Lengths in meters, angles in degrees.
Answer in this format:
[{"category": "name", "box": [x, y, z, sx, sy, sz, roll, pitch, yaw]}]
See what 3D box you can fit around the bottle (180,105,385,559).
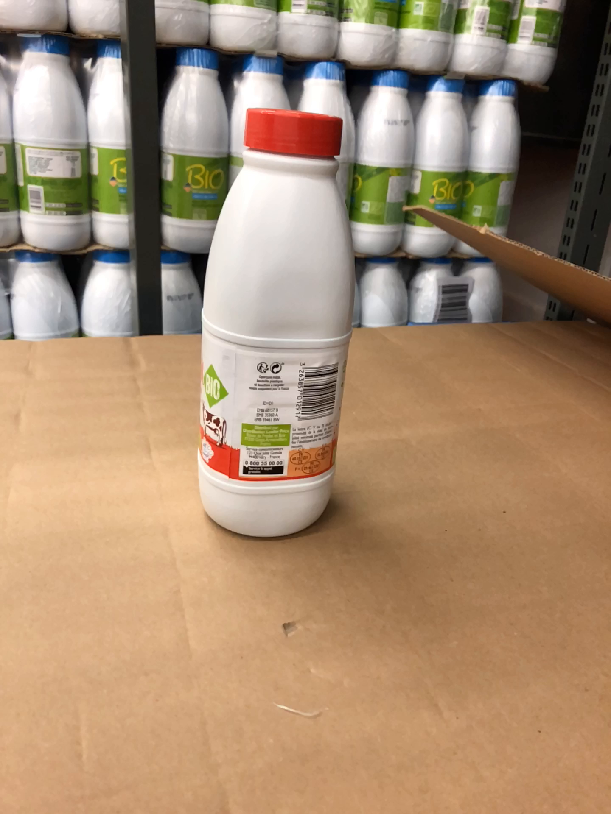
[{"category": "bottle", "box": [-0.023, -0.041, 0.380, 0.080, 0.229, 0.090, -4, 25, -18]}]
